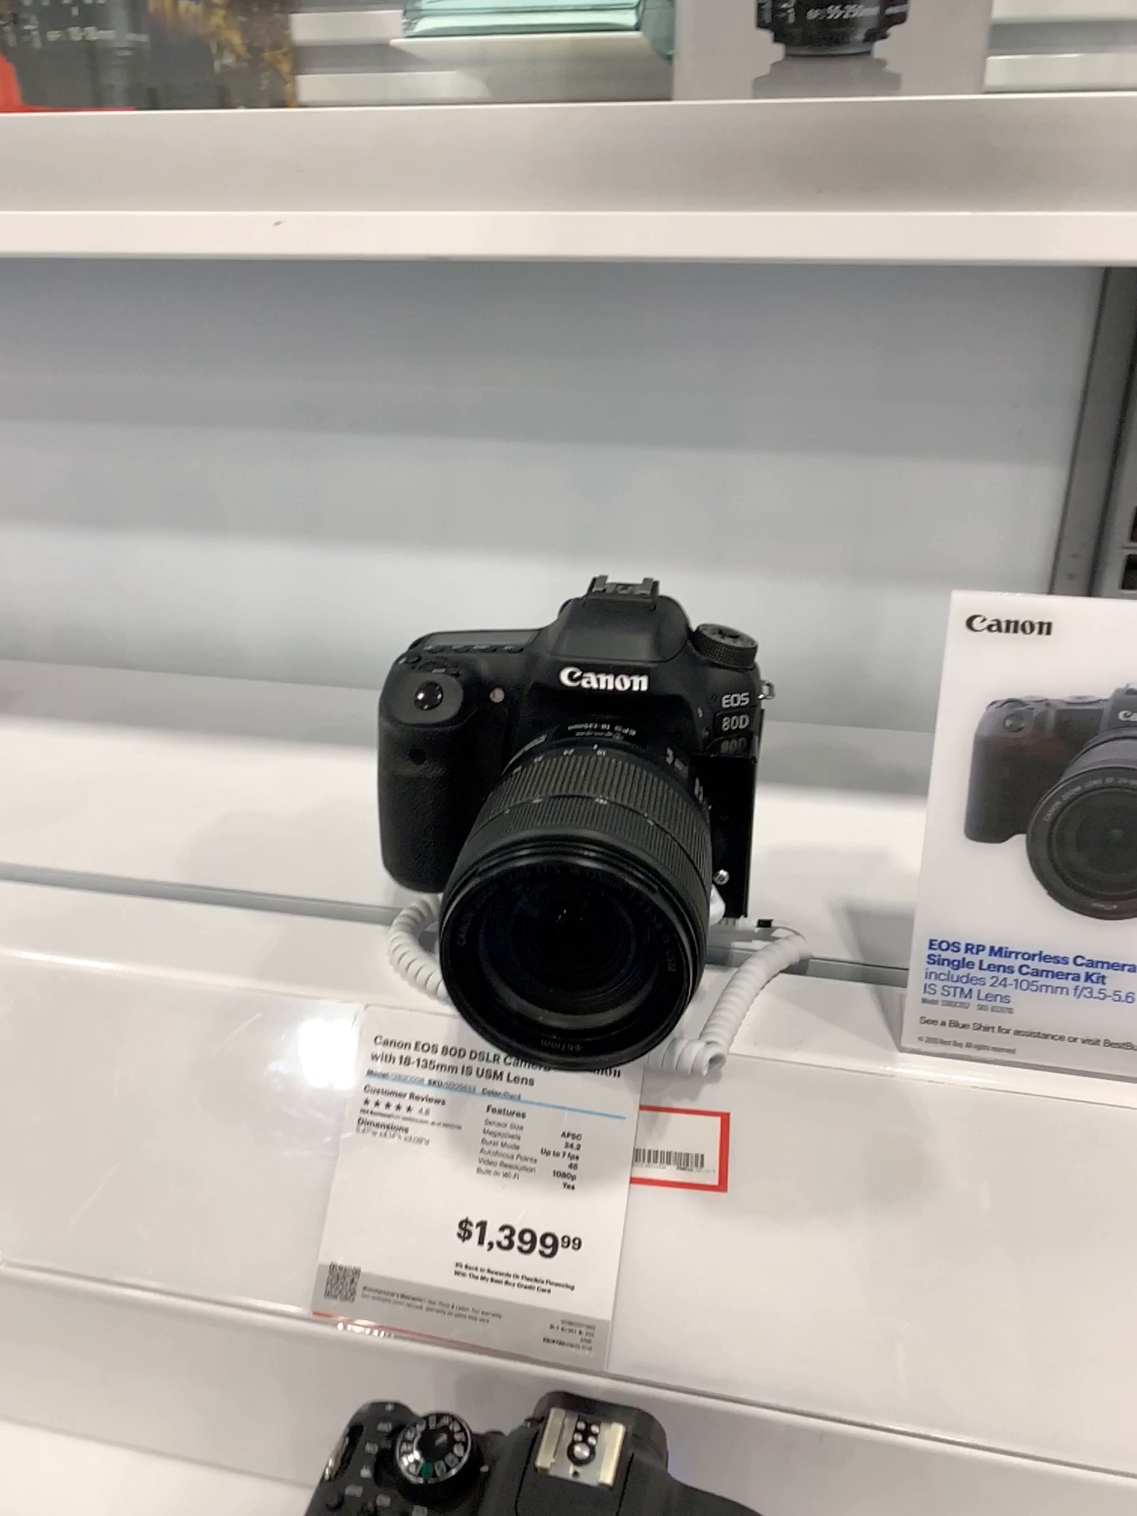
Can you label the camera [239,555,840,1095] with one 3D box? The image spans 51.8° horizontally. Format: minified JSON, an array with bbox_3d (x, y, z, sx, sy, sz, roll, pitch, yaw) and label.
[{"bbox_3d":[0.003,0.006,0.385,0.150,0.100,0.171,4,24,8],"label":"camera"}]
